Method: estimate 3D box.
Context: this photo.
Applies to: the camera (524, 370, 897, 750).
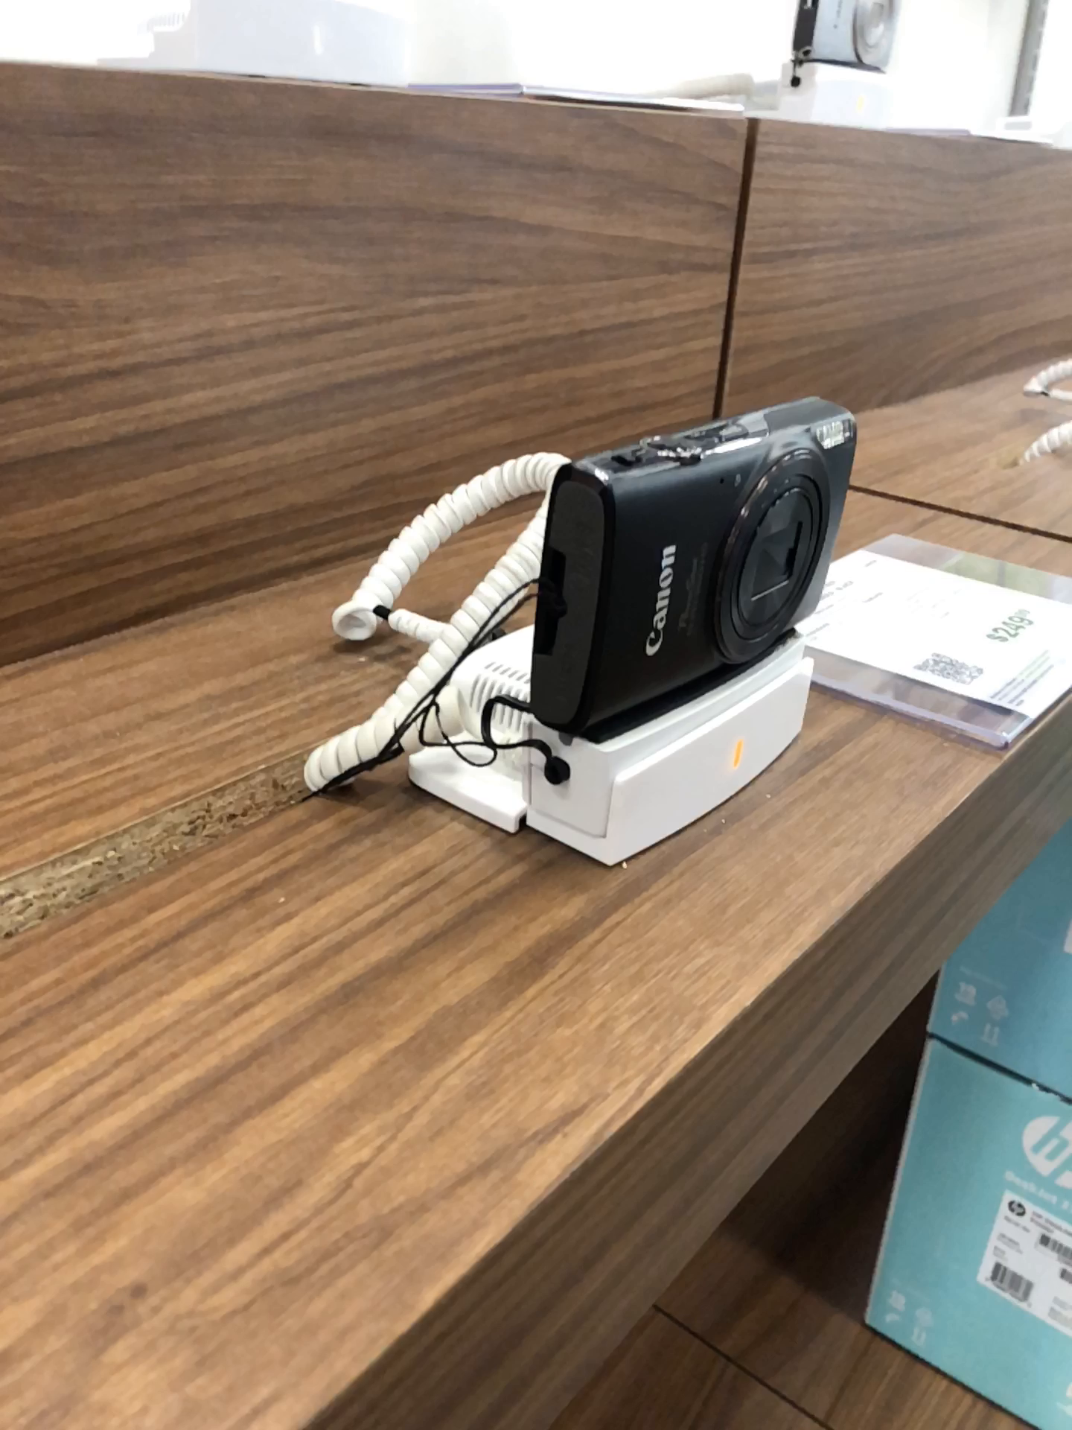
[{"bbox_3d":[0.042,-0.040,0.268,0.020,0.060,0.110,24,32,31],"label":"camera"}]
